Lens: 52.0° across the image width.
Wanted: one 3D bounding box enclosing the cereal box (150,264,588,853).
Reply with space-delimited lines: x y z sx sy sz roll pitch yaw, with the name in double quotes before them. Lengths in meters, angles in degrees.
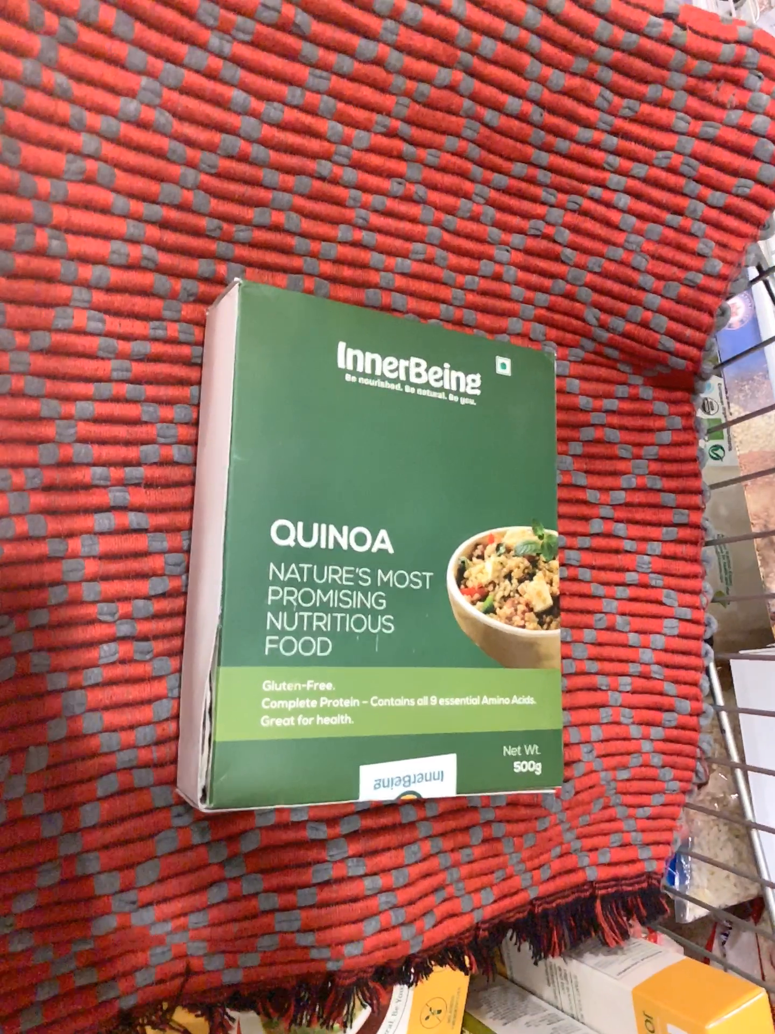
"cereal box" 0.000 0.017 0.292 0.150 0.040 0.180 6 81 -25
